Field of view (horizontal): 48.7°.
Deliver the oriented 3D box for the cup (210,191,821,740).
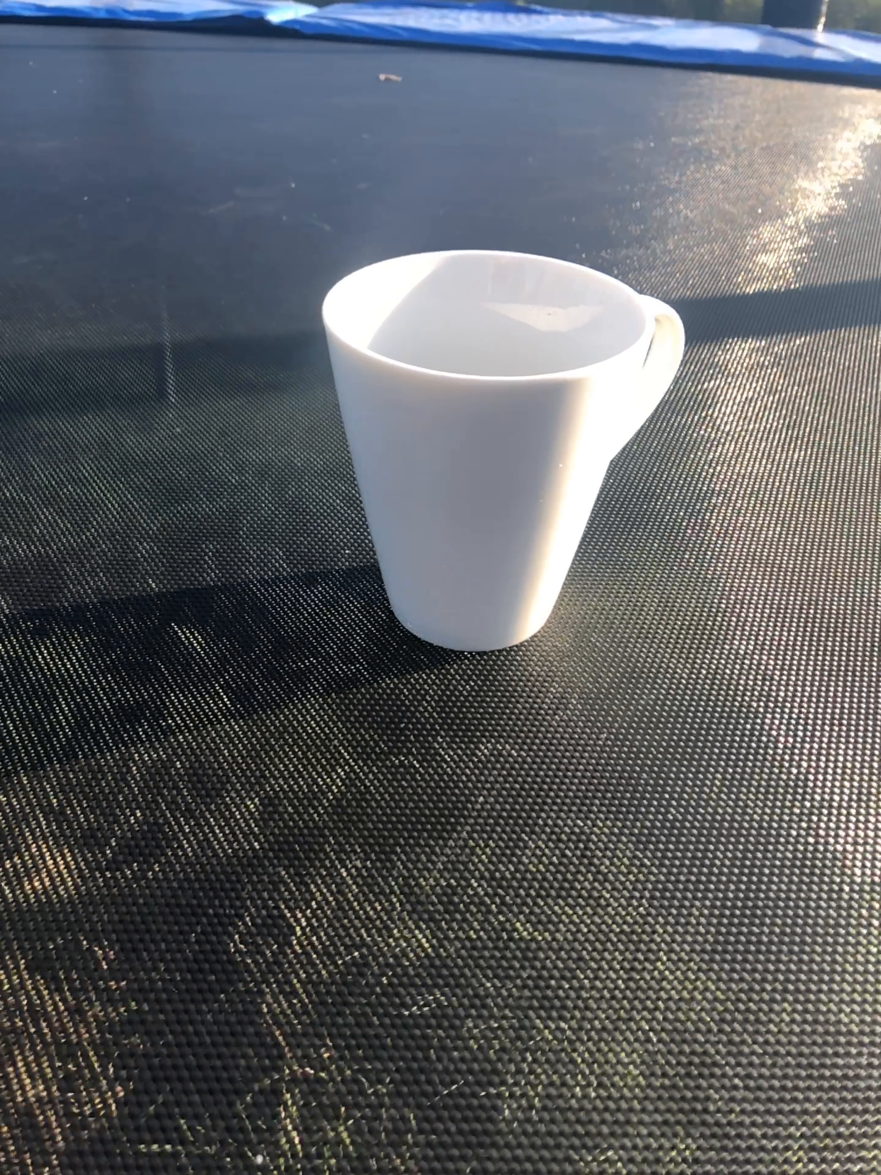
[{"bbox_3d":[0.020,-0.045,0.286,0.130,0.094,0.097,-24,43,-28],"label":"cup"}]
